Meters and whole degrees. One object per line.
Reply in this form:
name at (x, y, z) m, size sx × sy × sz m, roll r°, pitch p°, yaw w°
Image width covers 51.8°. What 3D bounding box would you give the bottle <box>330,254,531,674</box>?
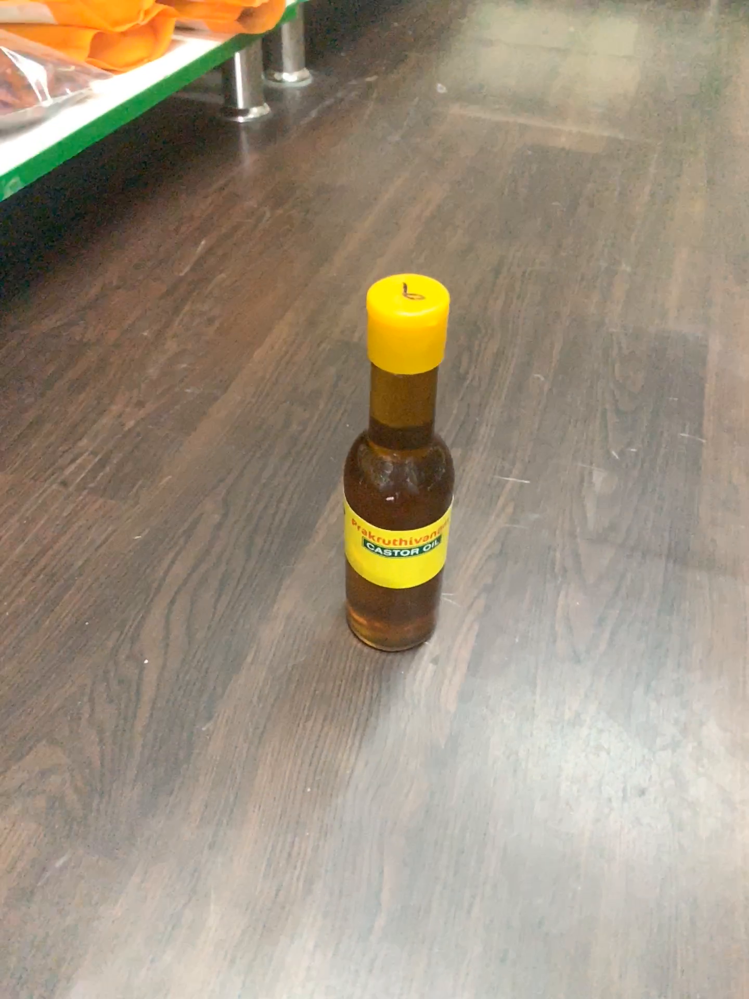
bottle at (0.015, -0.004, 0.309) m, size 0.060 × 0.169 × 0.060 m, roll 1°, pitch 44°, yaw -1°
